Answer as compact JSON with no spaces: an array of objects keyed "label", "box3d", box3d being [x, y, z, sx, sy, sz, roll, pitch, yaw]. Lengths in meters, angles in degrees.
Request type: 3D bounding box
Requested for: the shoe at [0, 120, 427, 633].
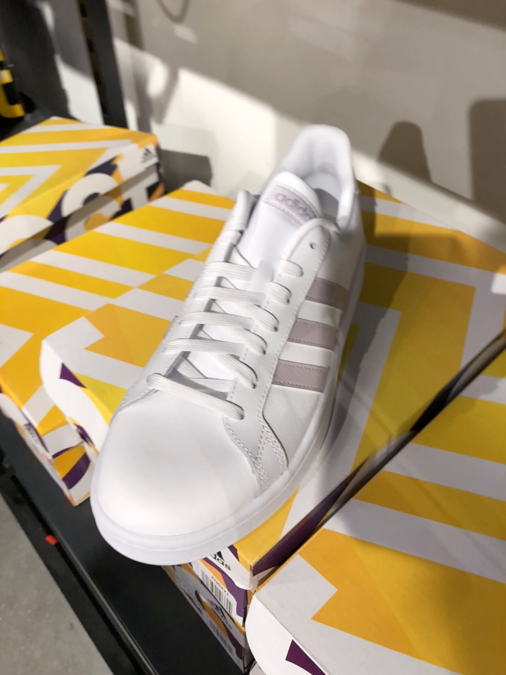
[{"label":"shoe","box3d":[0.004,-0.012,0.326,0.110,0.090,0.291,18,49,17]}]
